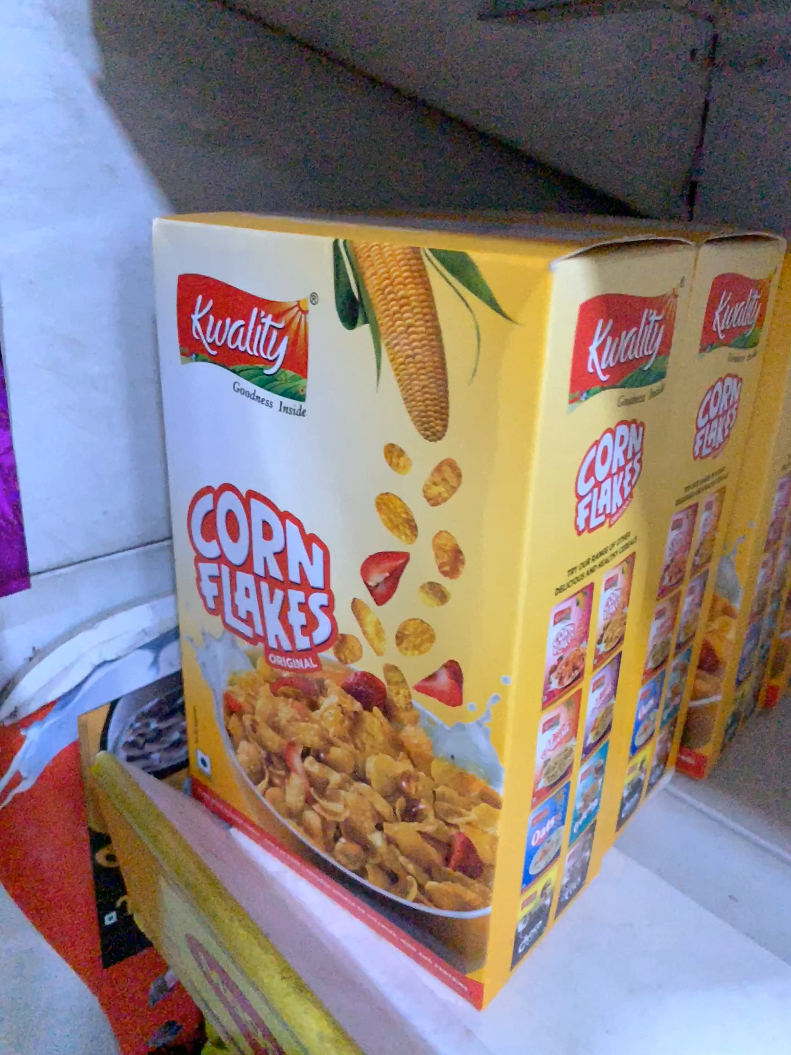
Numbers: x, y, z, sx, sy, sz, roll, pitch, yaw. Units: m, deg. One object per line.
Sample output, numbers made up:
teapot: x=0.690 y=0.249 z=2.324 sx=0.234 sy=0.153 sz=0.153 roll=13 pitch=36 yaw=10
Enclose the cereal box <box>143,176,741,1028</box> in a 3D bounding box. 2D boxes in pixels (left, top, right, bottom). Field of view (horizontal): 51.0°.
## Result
cereal box: x=0.002 y=0.008 z=0.216 sx=0.120 sy=0.179 sz=0.060 roll=19 pitch=27 yaw=36
